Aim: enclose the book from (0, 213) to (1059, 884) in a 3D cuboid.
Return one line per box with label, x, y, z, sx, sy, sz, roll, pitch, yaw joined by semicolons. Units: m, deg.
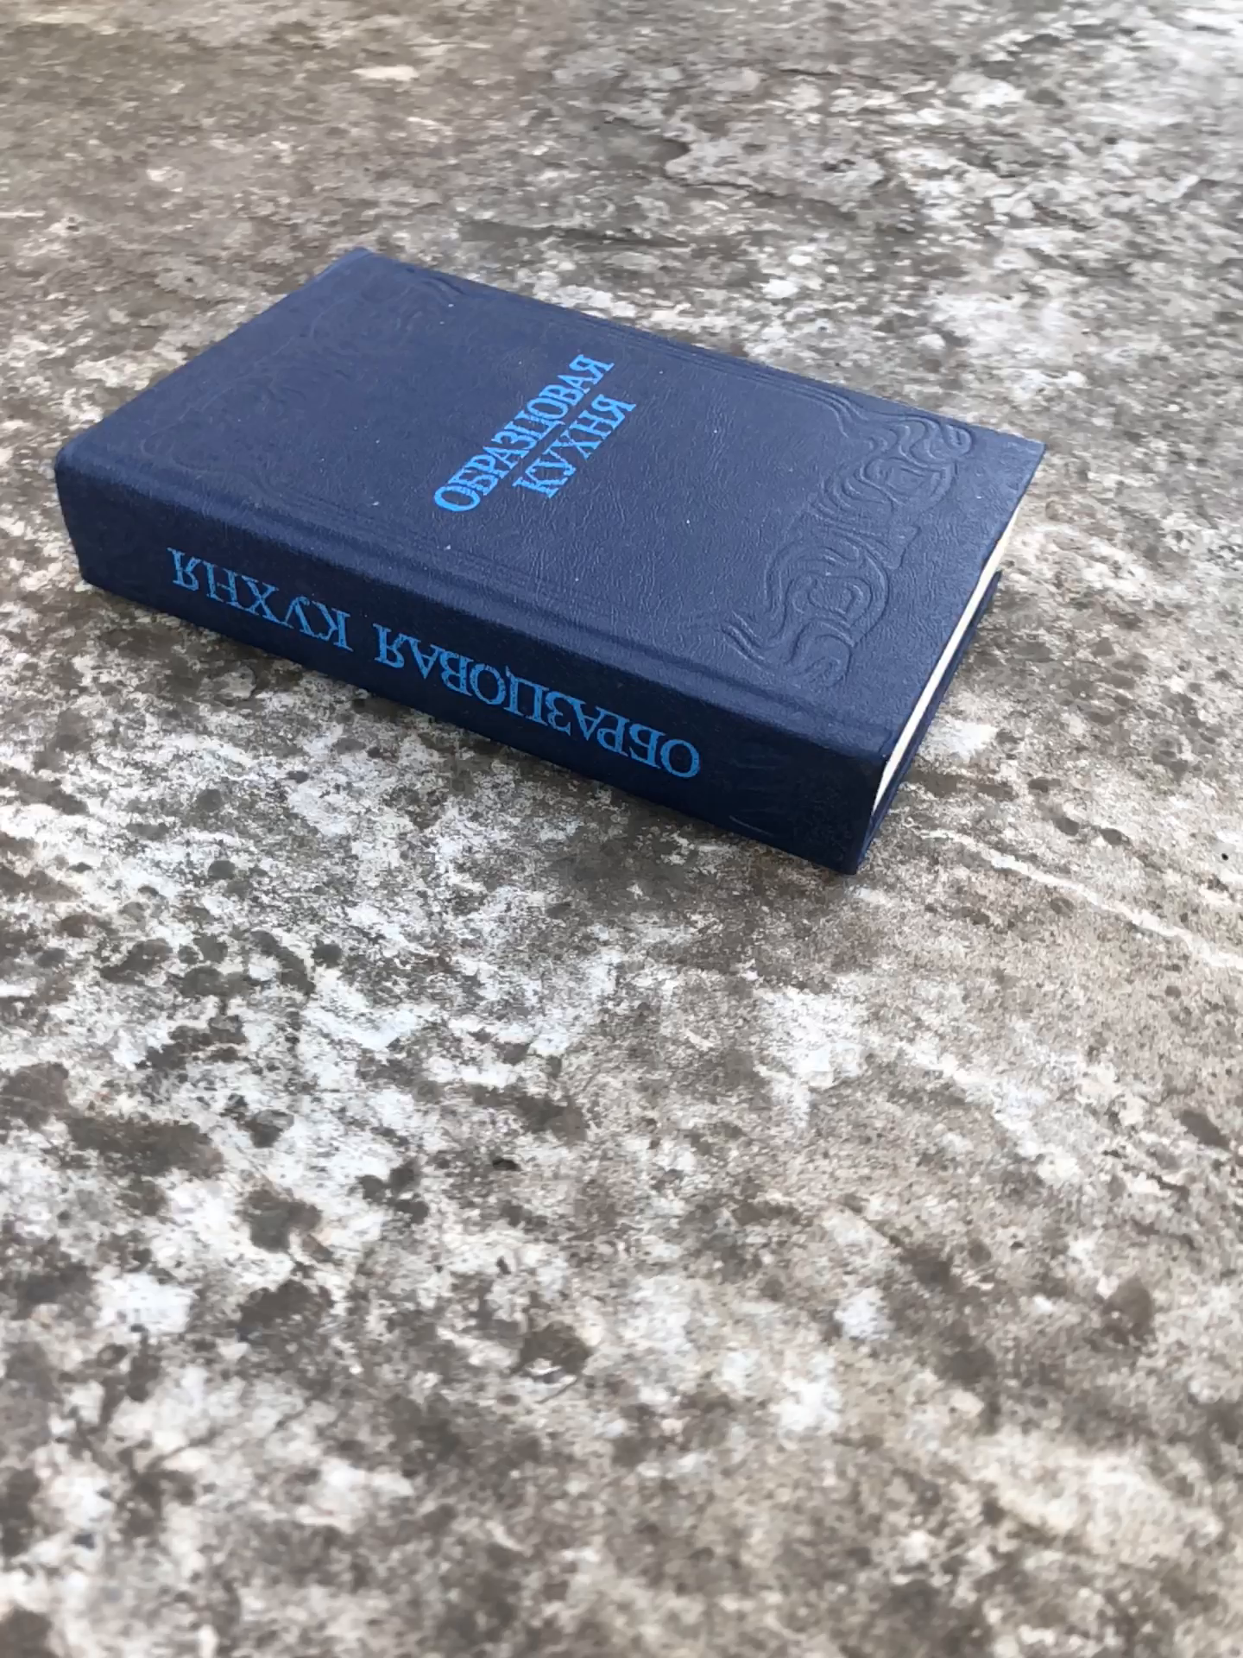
book;-0.017;-0.083;0.338;0.210;0.040;0.141;21;47;15
